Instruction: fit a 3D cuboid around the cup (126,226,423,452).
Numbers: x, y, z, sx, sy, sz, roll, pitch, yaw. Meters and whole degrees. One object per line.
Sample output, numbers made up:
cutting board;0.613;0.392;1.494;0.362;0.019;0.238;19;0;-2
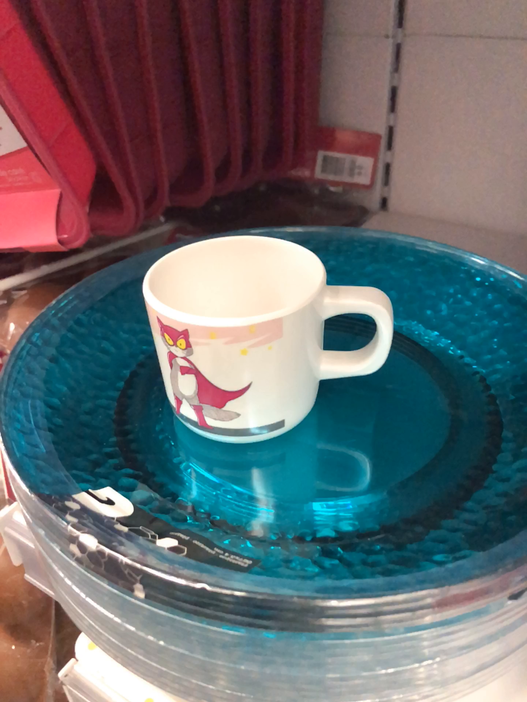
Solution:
cup;0.006;-0.008;0.250;0.102;0.064;0.076;1;34;4
